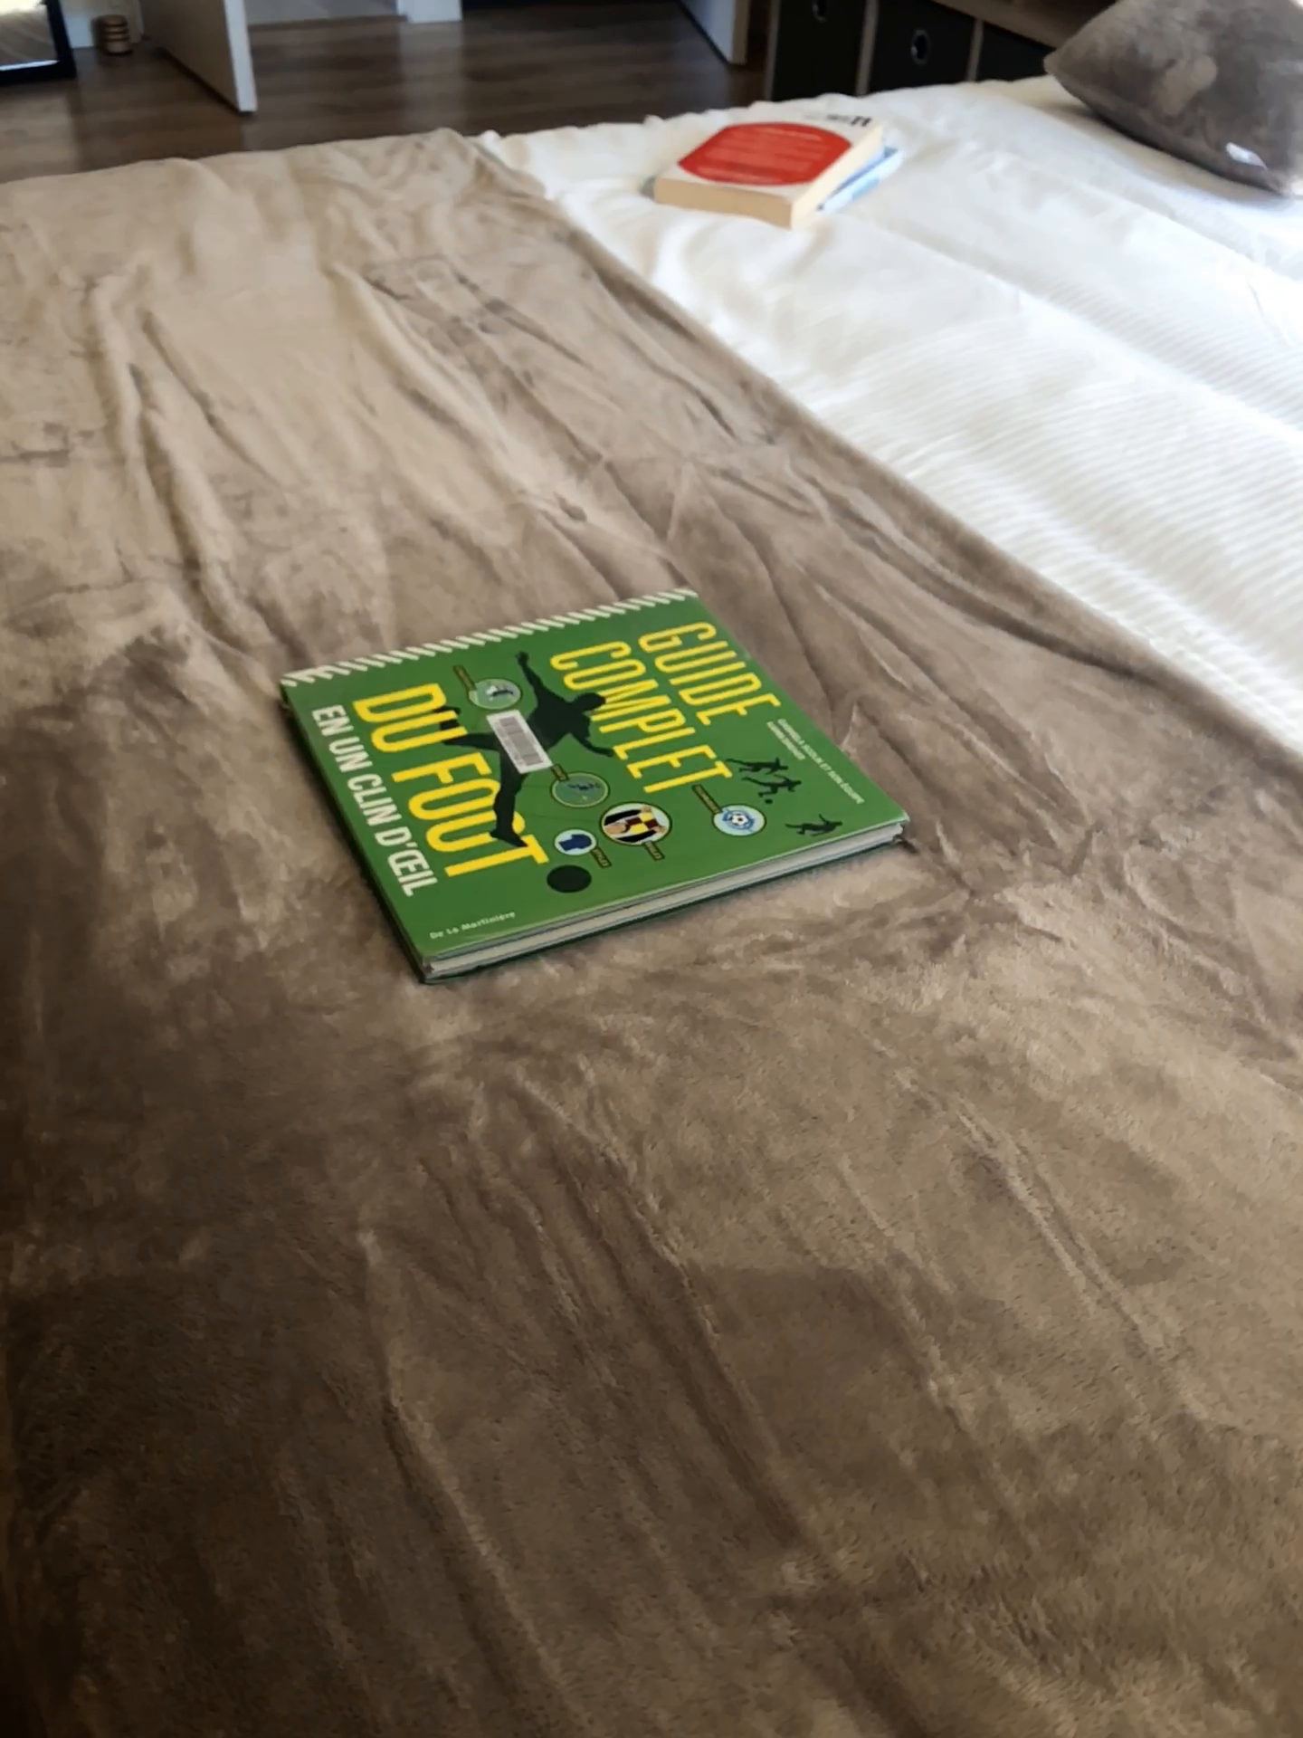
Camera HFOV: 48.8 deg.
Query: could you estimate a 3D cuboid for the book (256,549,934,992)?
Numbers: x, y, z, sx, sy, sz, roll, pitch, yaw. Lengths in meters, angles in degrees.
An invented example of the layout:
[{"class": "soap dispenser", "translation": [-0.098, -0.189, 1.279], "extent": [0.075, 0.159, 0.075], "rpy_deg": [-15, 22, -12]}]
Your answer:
[{"class": "book", "translation": [-0.034, -0.062, 0.664], "extent": [0.239, 0.018, 0.228], "rpy_deg": [-16, 46, -20]}]
